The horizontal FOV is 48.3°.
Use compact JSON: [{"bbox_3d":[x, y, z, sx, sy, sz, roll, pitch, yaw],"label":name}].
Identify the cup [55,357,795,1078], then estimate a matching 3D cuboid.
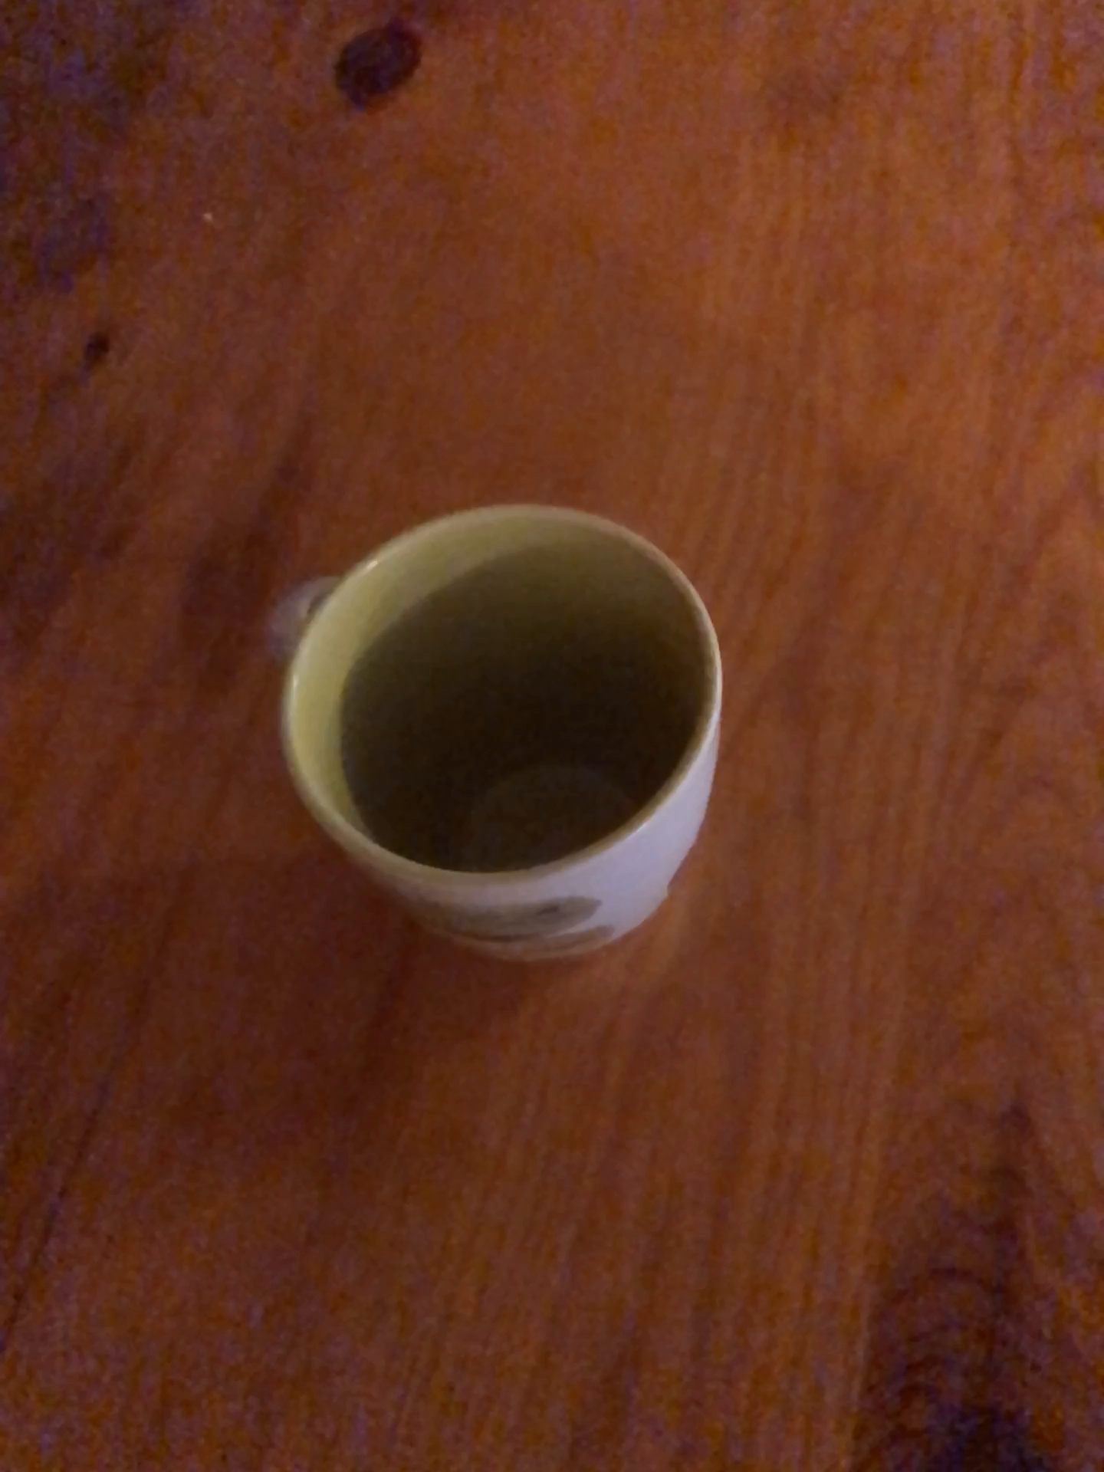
[{"bbox_3d":[-0.022,-0.002,0.298,0.120,0.100,0.098,28,69,18],"label":"cup"}]
